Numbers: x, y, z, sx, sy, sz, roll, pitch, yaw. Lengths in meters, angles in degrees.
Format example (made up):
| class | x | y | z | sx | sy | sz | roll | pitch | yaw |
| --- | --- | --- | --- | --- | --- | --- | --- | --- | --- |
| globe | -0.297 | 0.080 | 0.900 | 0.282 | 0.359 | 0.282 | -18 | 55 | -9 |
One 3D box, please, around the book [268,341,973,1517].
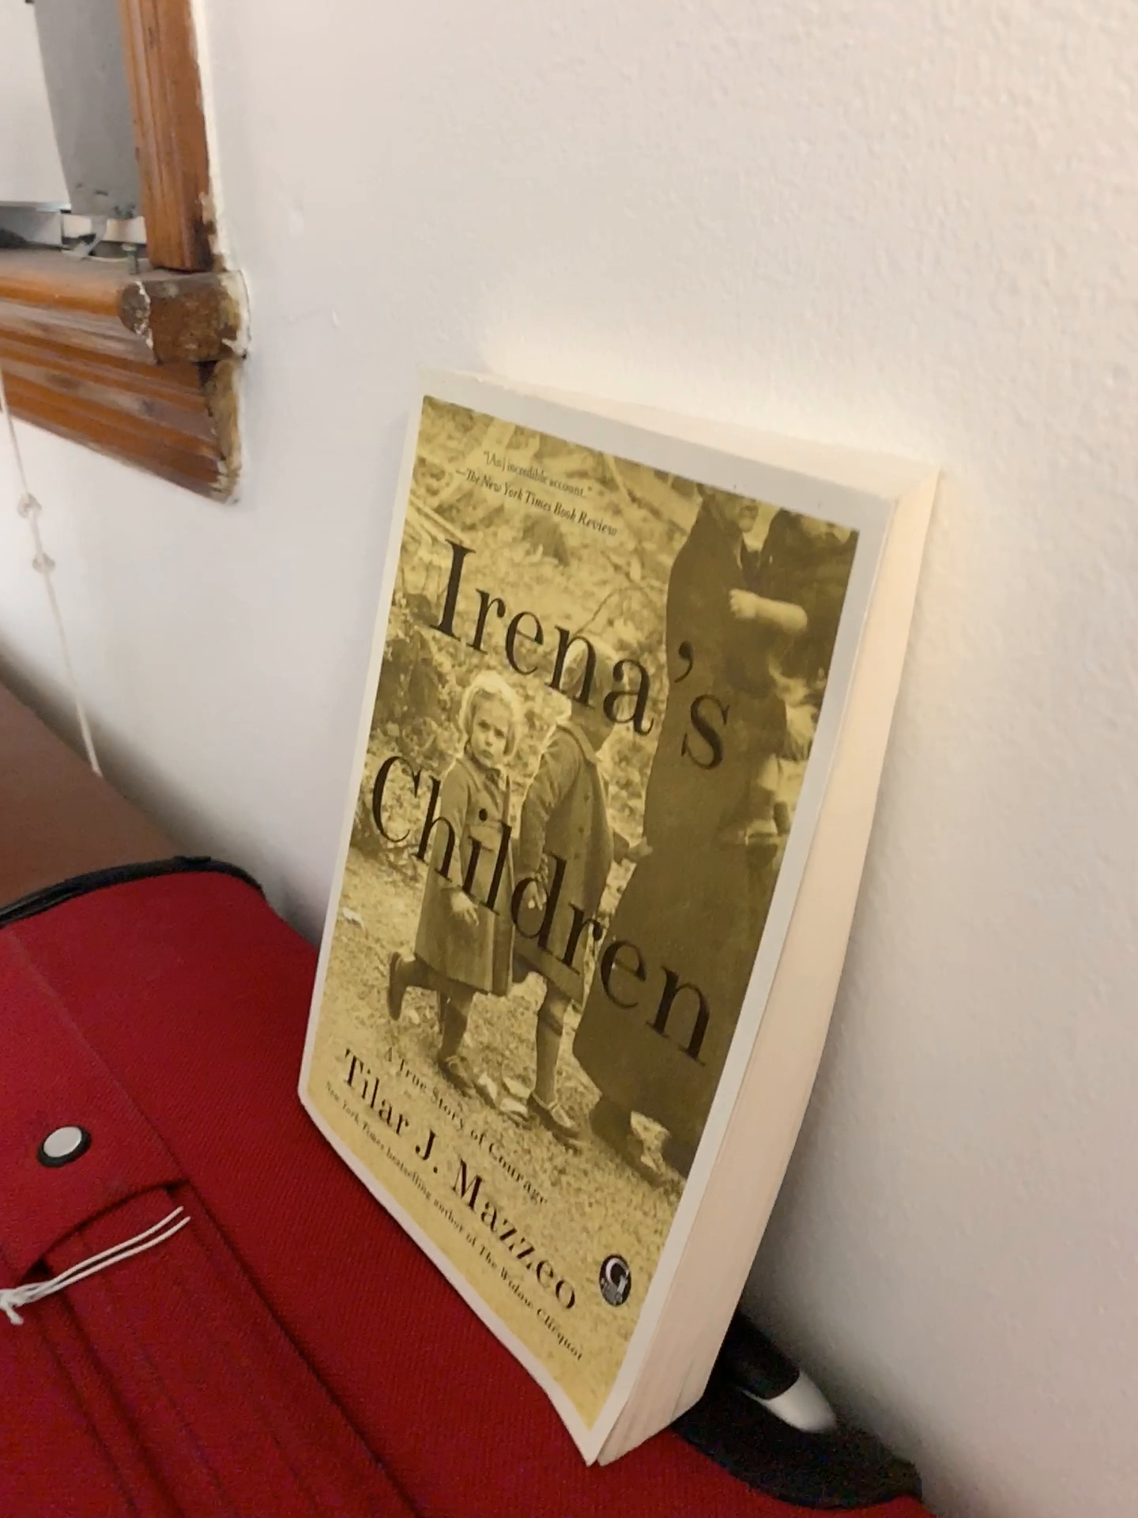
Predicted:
| class | x | y | z | sx | sy | sz | roll | pitch | yaw |
| --- | --- | --- | --- | --- | --- | --- | --- | --- | --- |
| book | -0.013 | 0.028 | 0.289 | 0.030 | 0.229 | 0.171 | -5 | 23 | -39 |
